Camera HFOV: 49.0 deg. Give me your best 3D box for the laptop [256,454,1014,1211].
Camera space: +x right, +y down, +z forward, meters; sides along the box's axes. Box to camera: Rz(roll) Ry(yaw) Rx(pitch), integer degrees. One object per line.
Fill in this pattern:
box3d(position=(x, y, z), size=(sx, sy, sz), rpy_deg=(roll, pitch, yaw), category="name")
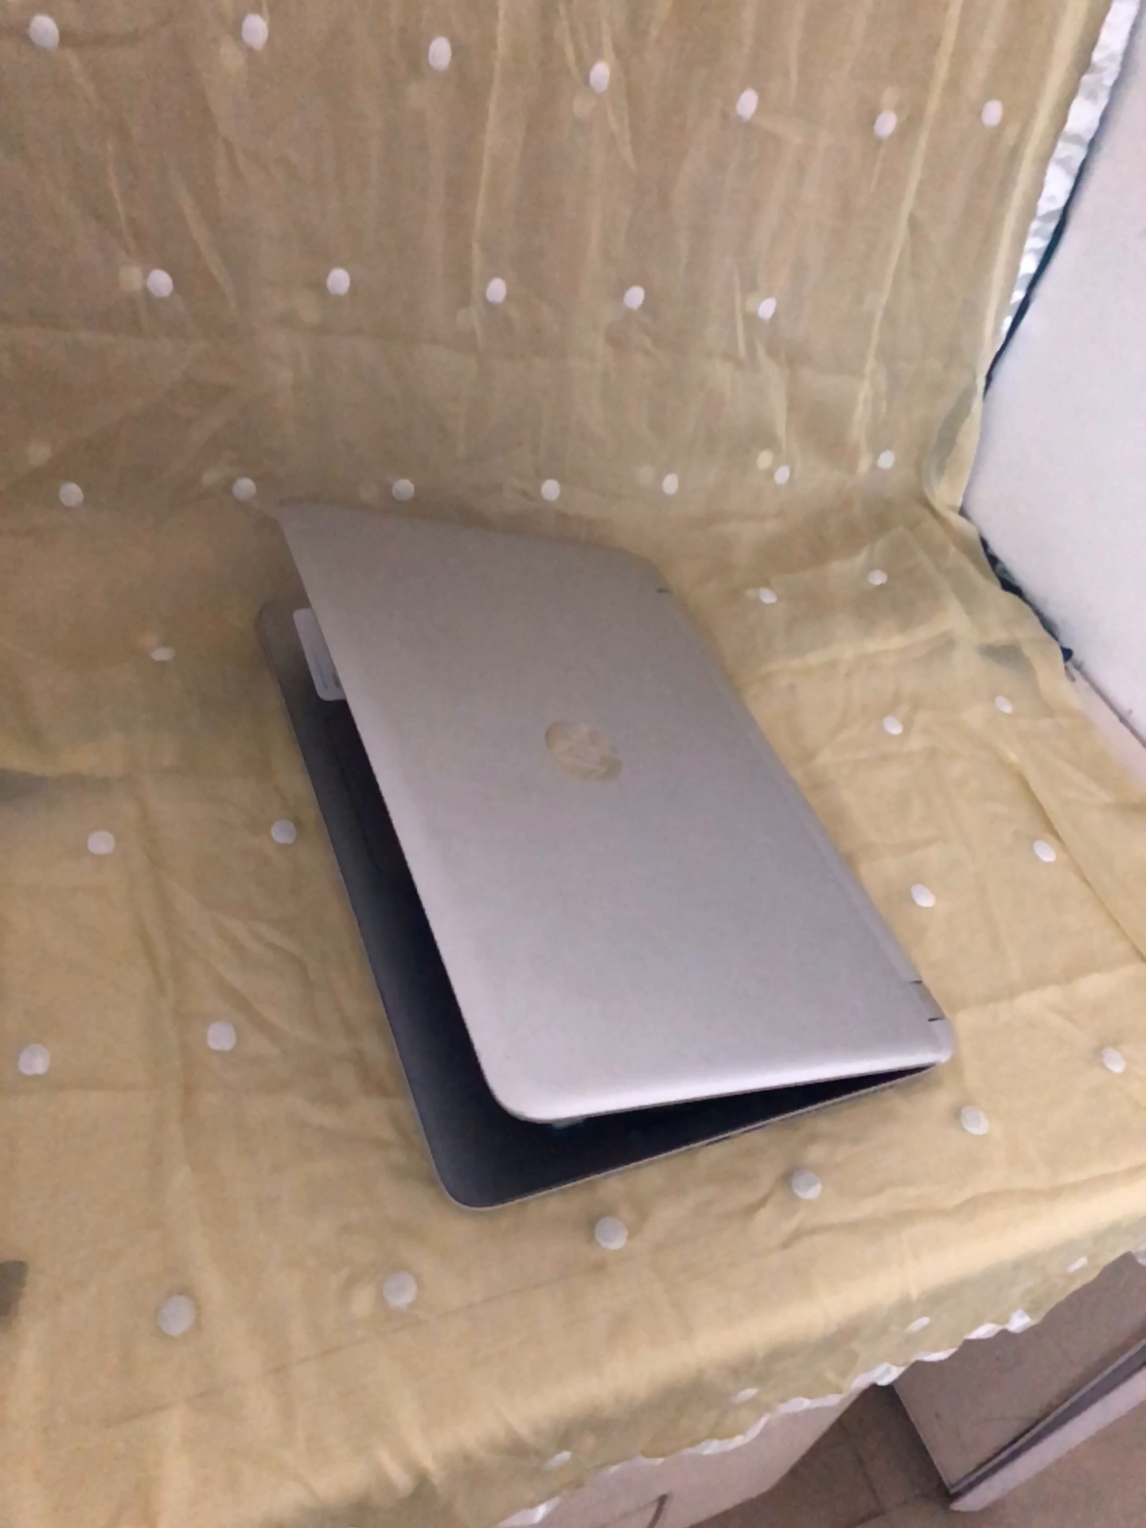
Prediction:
box3d(position=(0.005, -0.004, 0.625), size=(0.243, 0.077, 0.367), rpy_deg=(-10, 51, -23), category="laptop")
